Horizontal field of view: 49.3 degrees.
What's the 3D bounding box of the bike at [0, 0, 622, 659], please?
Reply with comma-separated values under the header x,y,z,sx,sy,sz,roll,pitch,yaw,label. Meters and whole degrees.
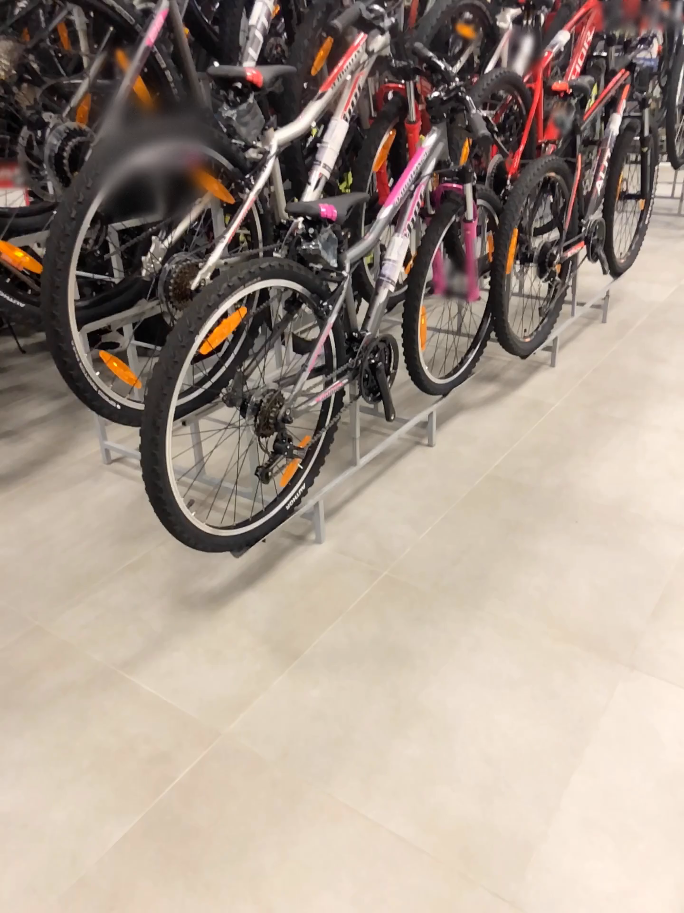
x,y,z,sx,sy,sz,roll,pitch,yaw,label
0.085,-0.545,1.843,0.599,0.990,1.613,16,36,31,bike
